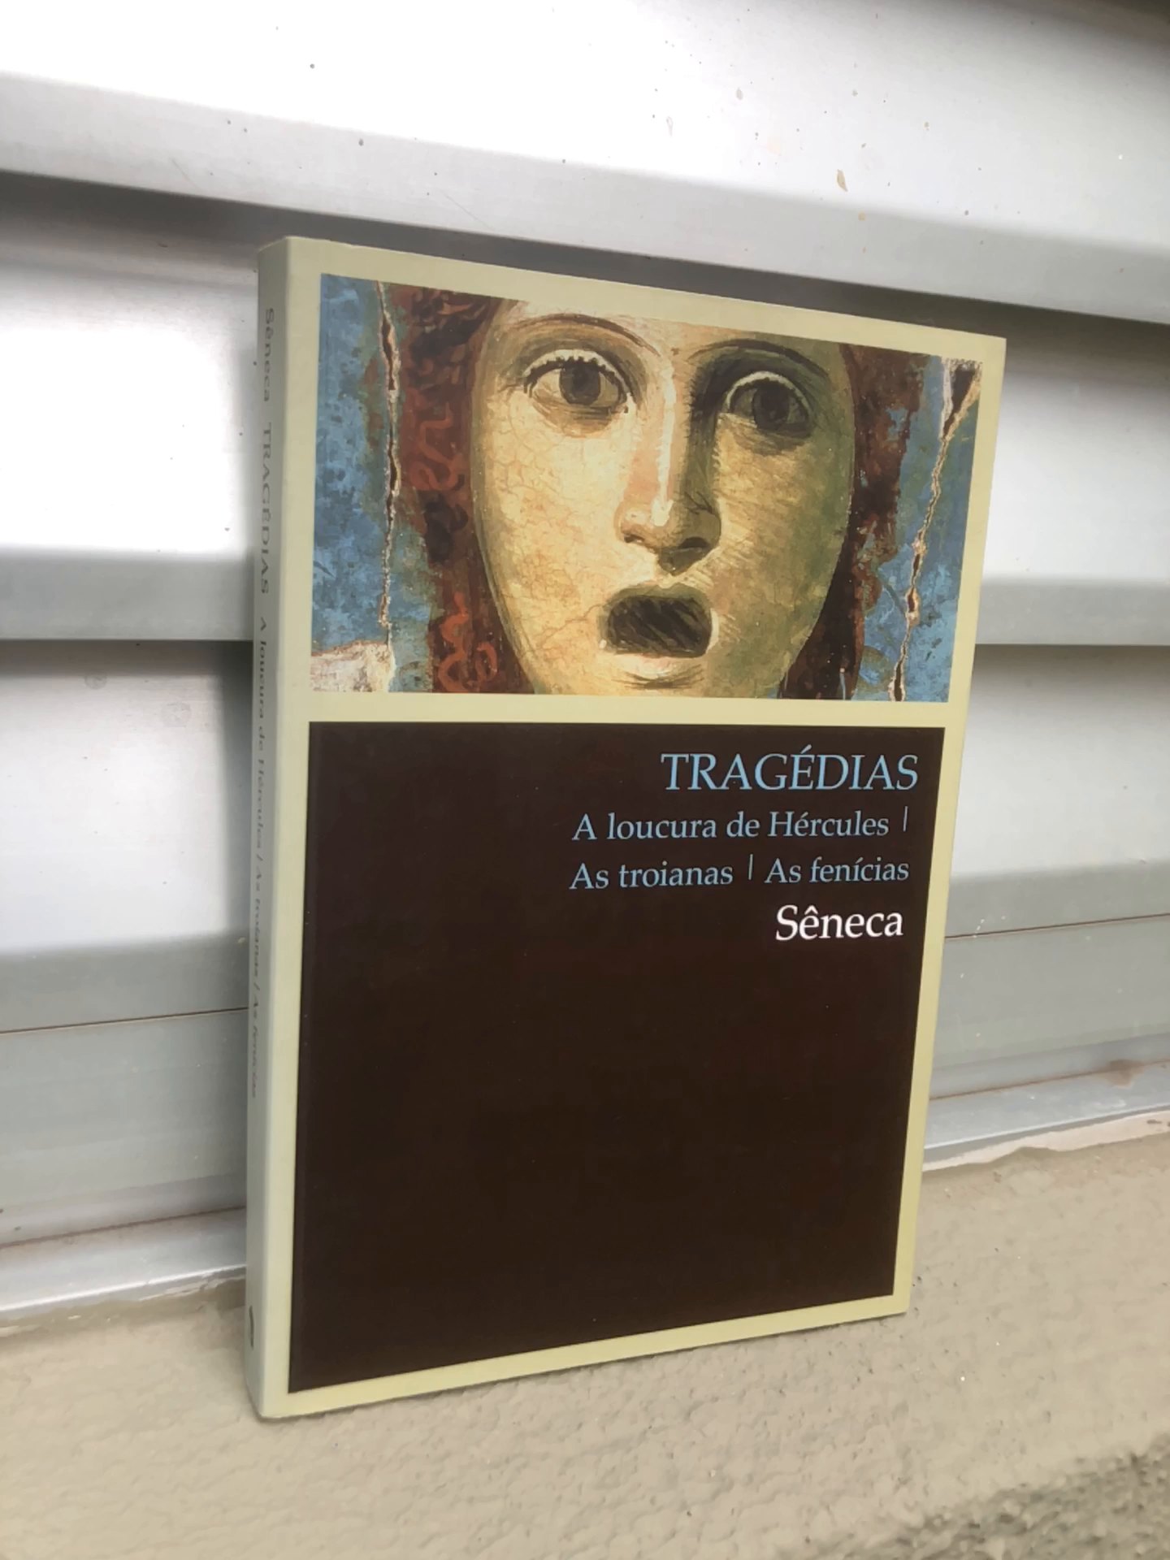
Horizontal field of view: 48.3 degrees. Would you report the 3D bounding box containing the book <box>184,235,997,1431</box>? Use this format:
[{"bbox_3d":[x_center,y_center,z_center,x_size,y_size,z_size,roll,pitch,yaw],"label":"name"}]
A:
[{"bbox_3d":[0.001,0.012,0.246,0.144,0.197,0.026,-1,8,-18],"label":"book"}]
